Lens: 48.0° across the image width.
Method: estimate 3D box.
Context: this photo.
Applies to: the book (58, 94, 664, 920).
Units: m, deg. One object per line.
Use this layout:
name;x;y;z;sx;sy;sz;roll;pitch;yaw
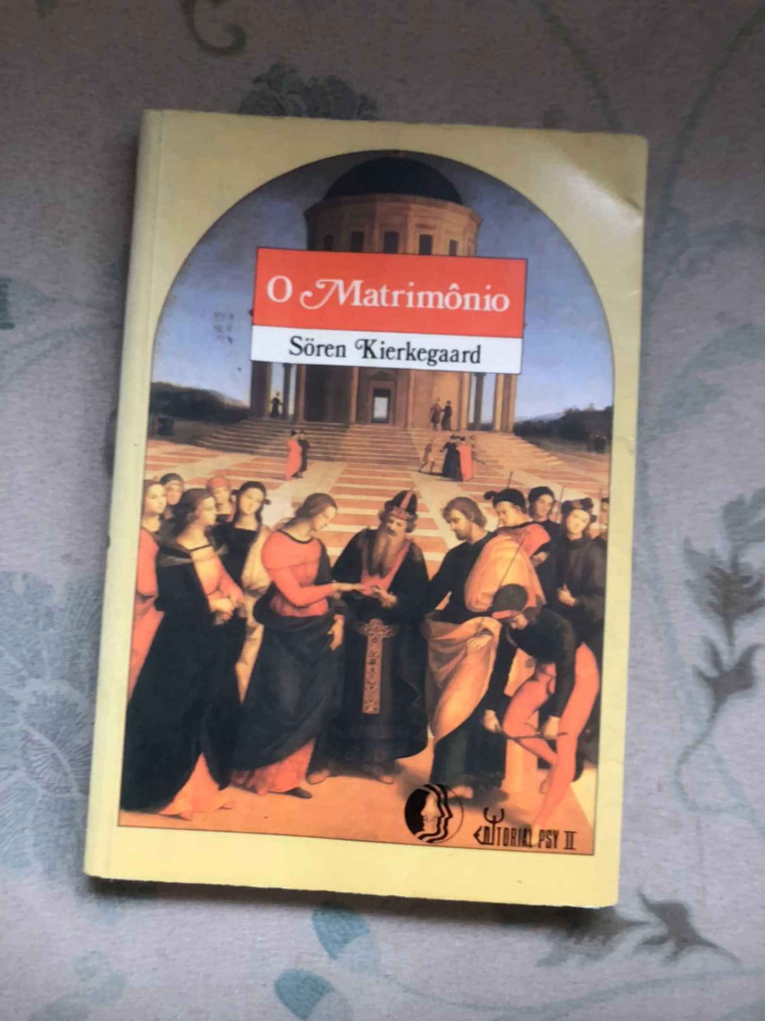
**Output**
book;-0.004;-0.002;0.228;0.140;0.020;0.200;4;88;1
